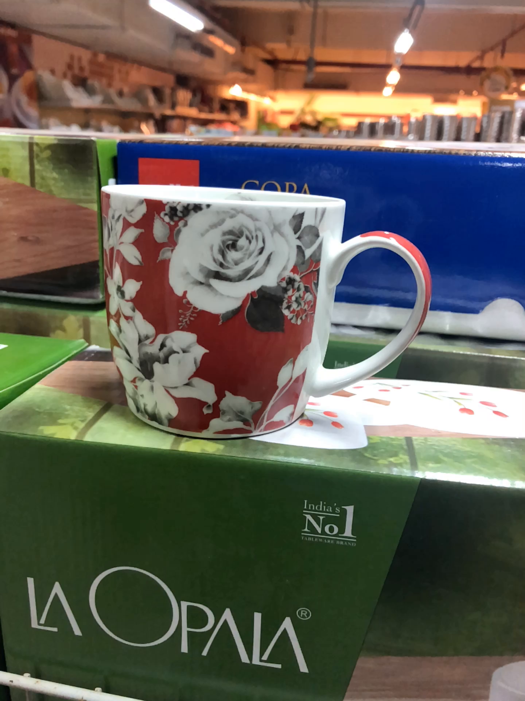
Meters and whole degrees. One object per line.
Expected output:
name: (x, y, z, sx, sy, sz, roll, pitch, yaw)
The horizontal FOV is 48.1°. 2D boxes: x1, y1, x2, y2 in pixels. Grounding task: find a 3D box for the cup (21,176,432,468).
cup: (-0.005, -0.020, 0.204, 0.110, 0.070, 0.090, 7, 16, 11)
